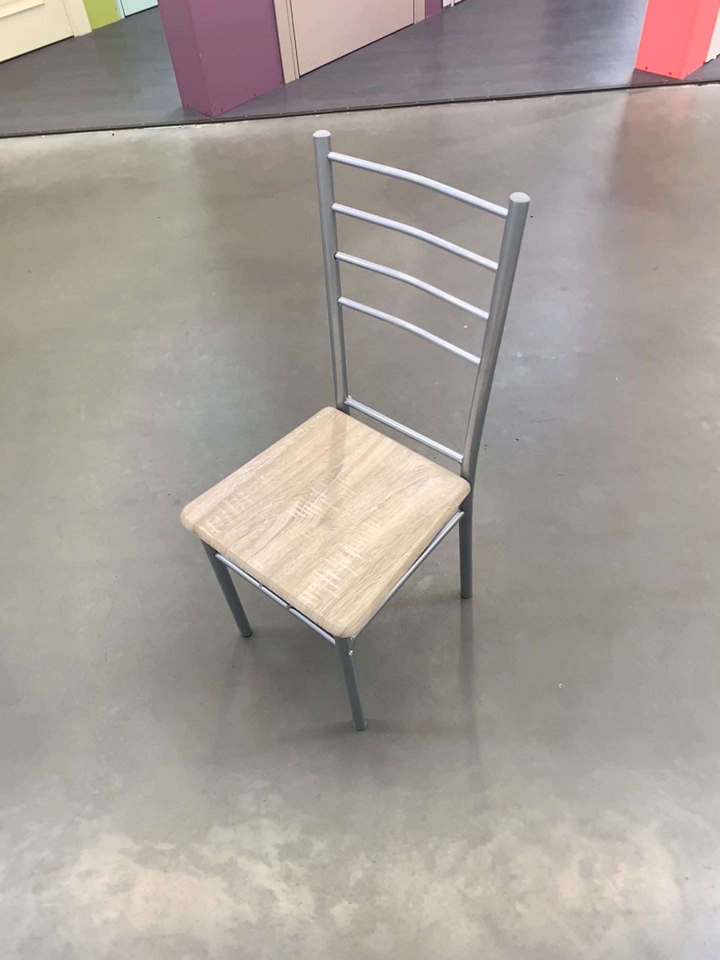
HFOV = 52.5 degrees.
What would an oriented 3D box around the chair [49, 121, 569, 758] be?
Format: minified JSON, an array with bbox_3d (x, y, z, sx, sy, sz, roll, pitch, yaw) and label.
[{"bbox_3d":[-0.029,-0.018,1.183,0.411,0.837,0.471,32,59,28],"label":"chair"}]
